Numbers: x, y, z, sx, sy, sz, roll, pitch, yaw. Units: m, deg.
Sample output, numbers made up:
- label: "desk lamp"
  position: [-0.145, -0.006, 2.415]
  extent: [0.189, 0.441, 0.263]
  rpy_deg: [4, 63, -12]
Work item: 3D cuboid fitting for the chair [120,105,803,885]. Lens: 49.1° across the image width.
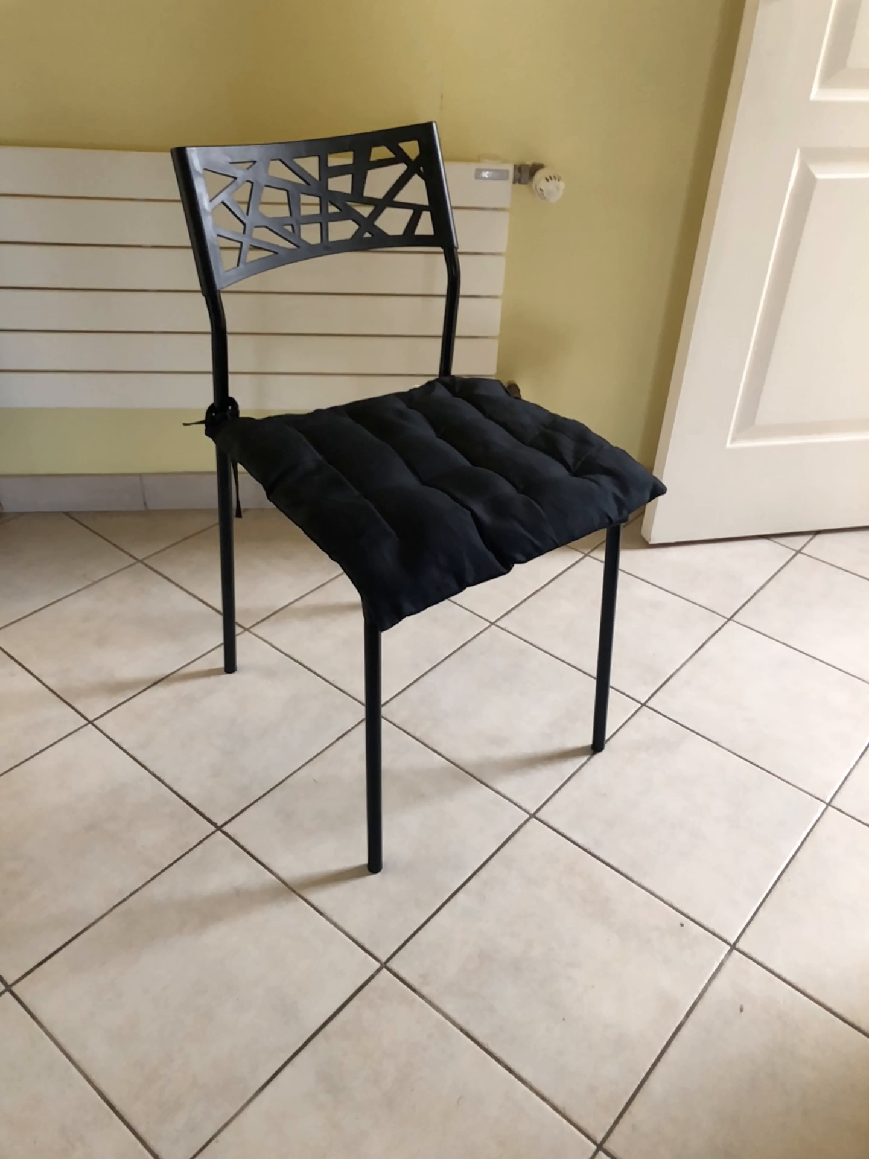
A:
- label: "chair"
  position: [0.001, -0.145, 1.226]
  extent: [0.522, 0.735, 0.521]
  rpy_deg: [-21, 42, -30]
